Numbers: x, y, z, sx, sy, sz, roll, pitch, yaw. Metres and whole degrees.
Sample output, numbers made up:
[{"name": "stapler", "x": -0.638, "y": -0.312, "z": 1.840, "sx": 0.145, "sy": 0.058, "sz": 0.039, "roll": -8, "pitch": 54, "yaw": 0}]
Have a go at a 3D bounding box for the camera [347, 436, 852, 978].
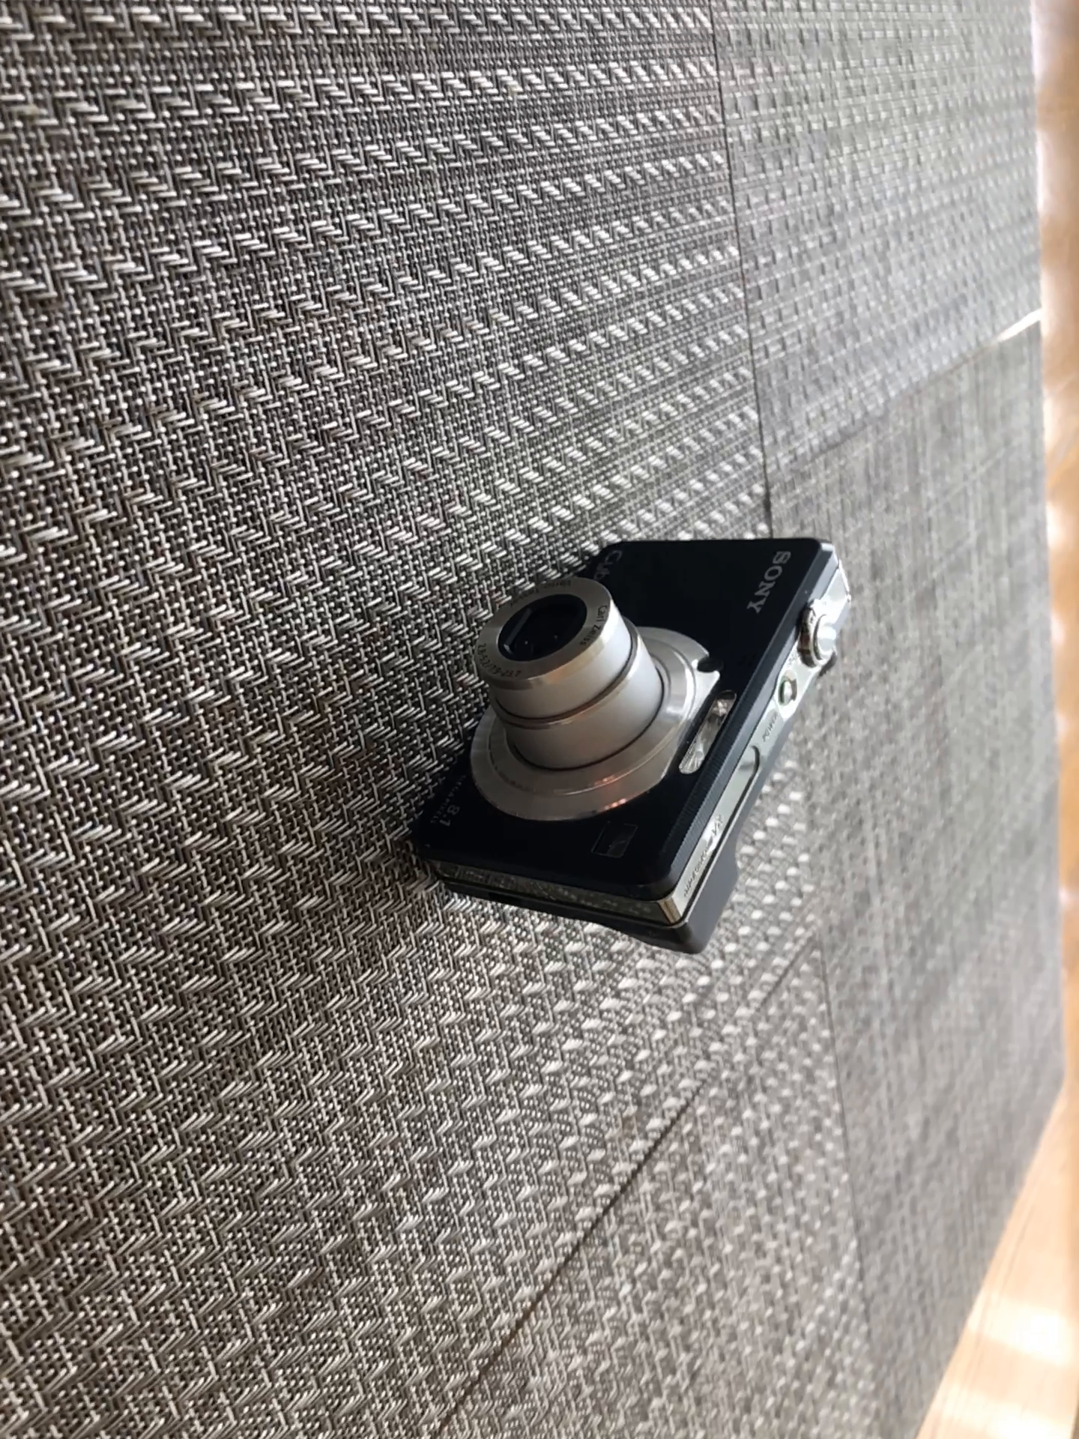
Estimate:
[{"name": "camera", "x": 0.017, "y": -0.007, "z": 0.241, "sx": 0.095, "sy": 0.052, "sz": 0.049, "roll": -58, "pitch": 136, "yaw": -32}]
